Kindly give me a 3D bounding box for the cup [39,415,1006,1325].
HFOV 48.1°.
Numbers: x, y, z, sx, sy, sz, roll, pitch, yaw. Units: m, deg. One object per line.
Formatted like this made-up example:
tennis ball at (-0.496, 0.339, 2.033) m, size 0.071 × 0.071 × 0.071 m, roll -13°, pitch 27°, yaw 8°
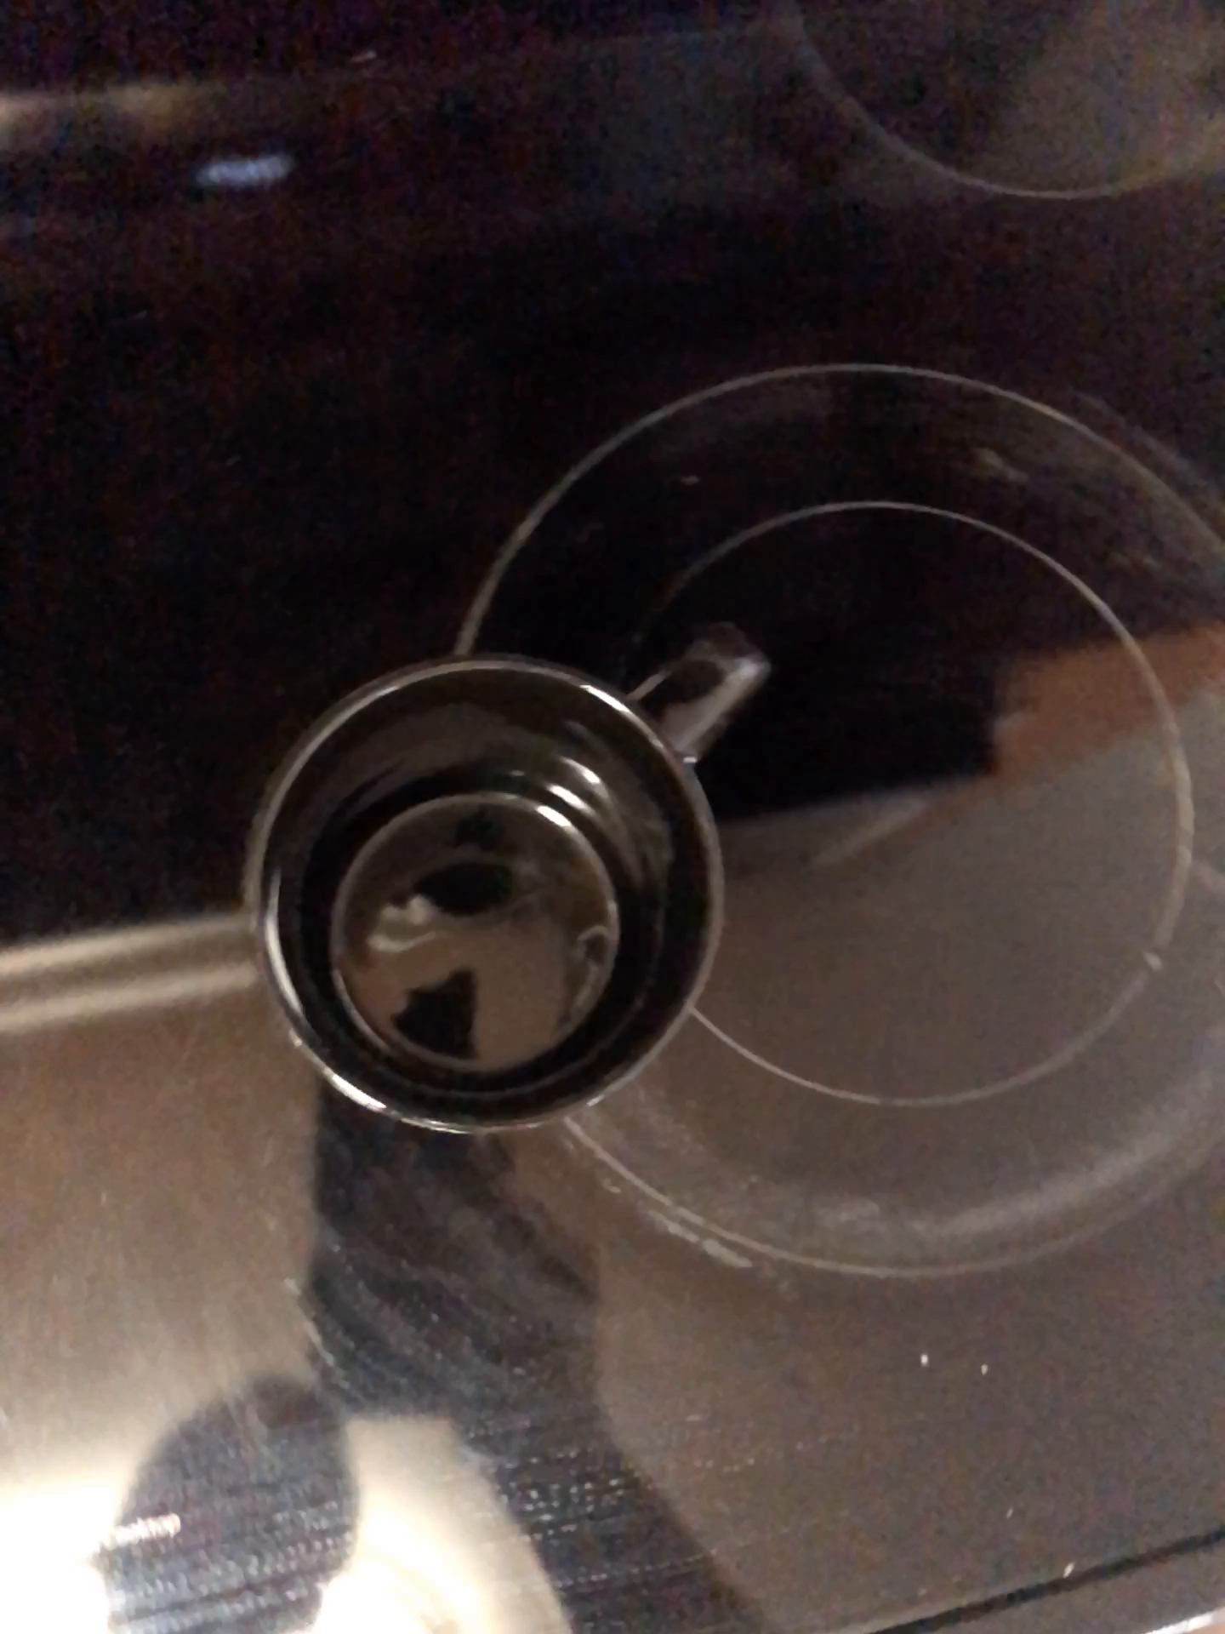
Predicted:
cup at (-0.017, 0.011, 0.268) m, size 0.130 × 0.090 × 0.090 m, roll -37°, pitch 86°, yaw -12°
